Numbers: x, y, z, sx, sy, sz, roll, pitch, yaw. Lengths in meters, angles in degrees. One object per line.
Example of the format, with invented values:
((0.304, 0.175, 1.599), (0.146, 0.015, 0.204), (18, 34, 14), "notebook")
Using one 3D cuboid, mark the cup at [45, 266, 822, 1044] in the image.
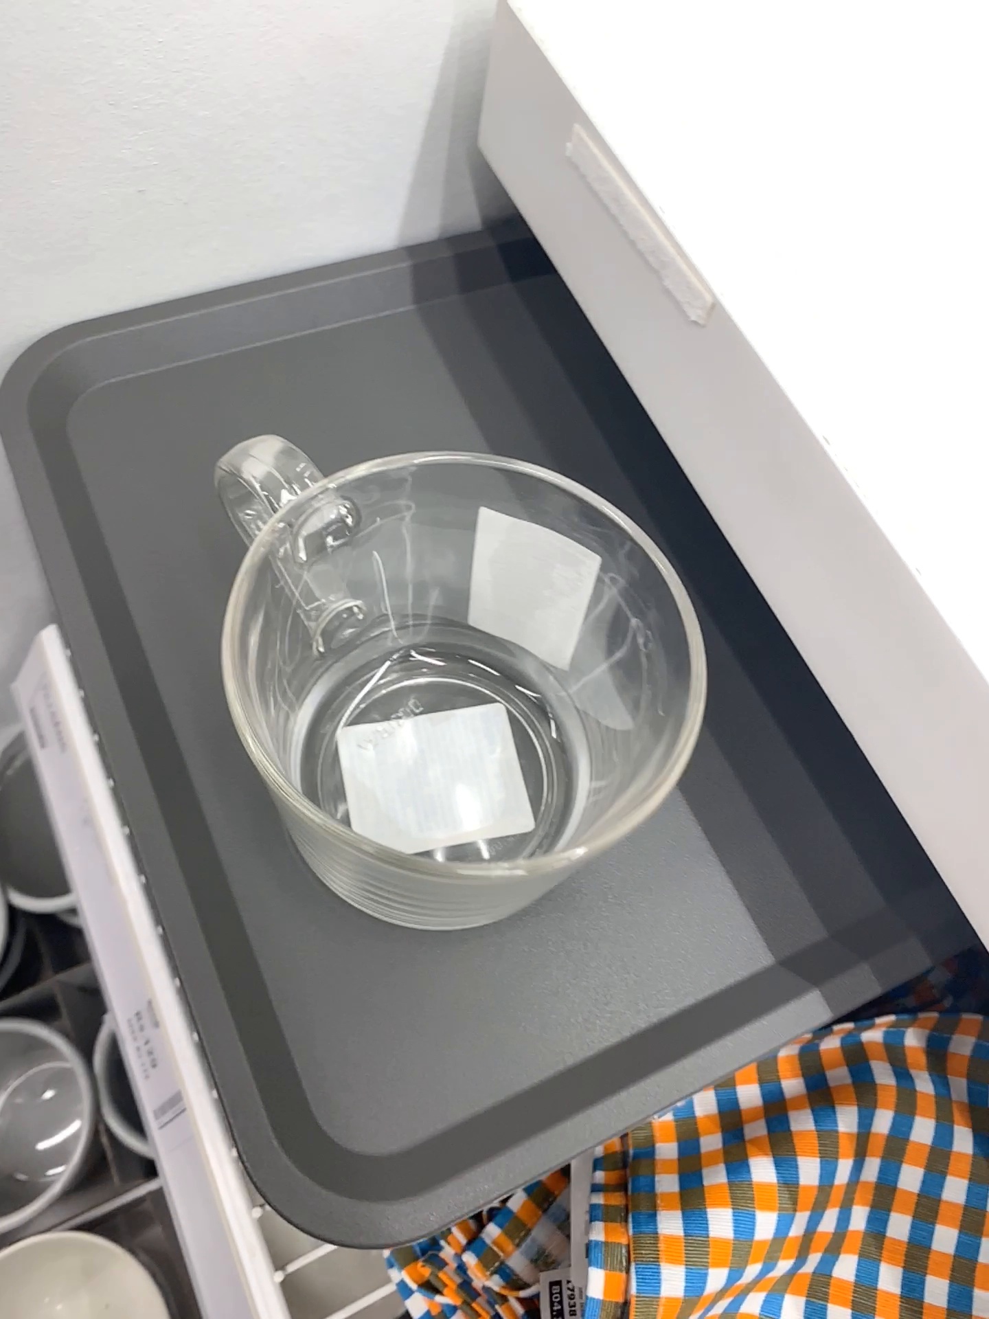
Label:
((-0.018, -0.002, 0.239), (0.100, 0.080, 0.130), (-29, 71, -22), "cup")
